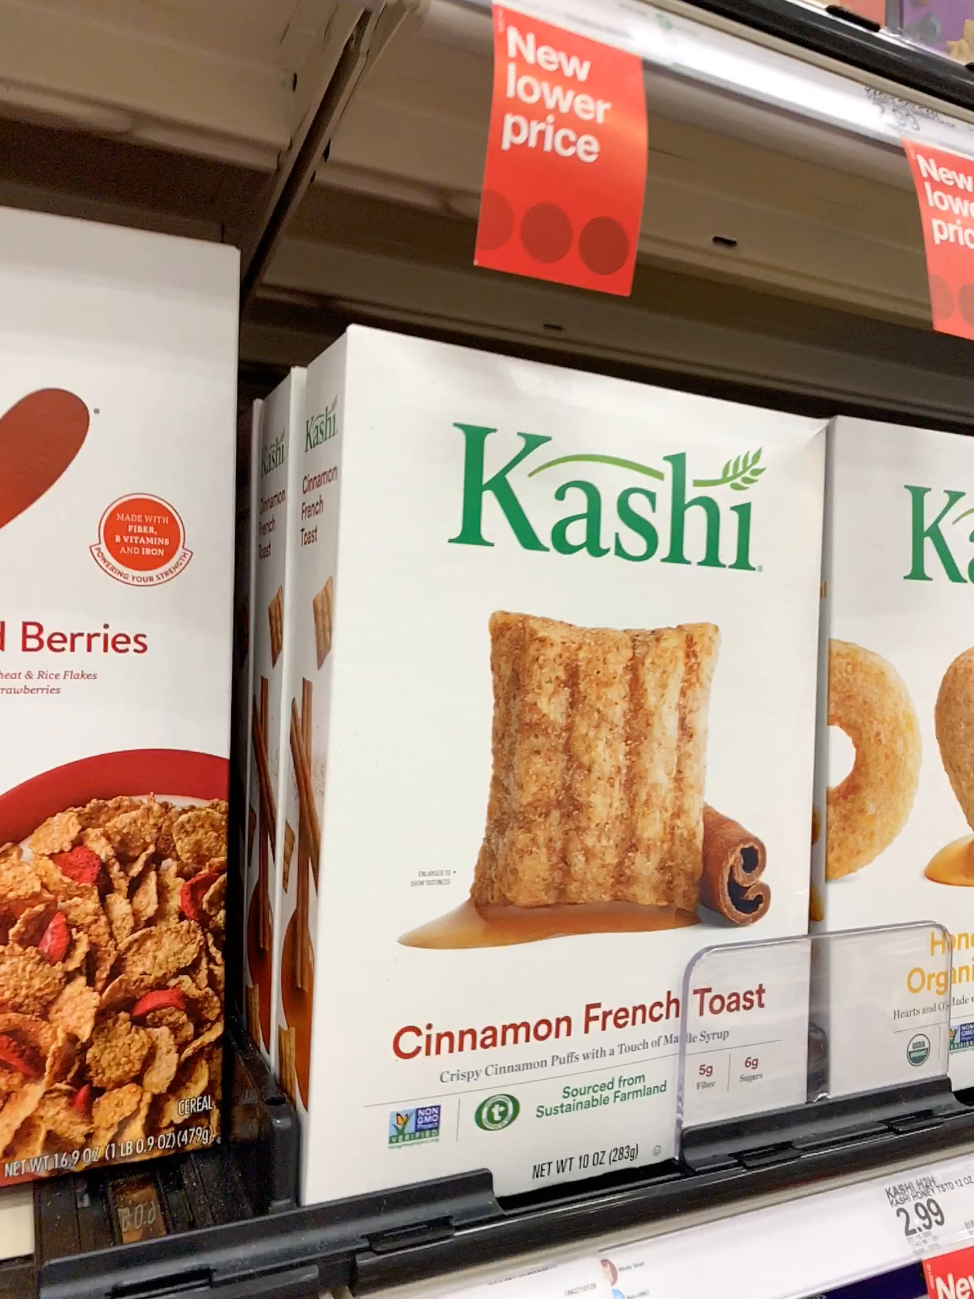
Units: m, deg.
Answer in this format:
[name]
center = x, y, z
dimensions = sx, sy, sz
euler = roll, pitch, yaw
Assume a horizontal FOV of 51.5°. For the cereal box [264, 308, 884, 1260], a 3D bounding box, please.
[cereal box]
center = 0.037, 0.040, 0.358
dimensions = 0.210, 0.270, 0.060
euler = 2, -2, -25
